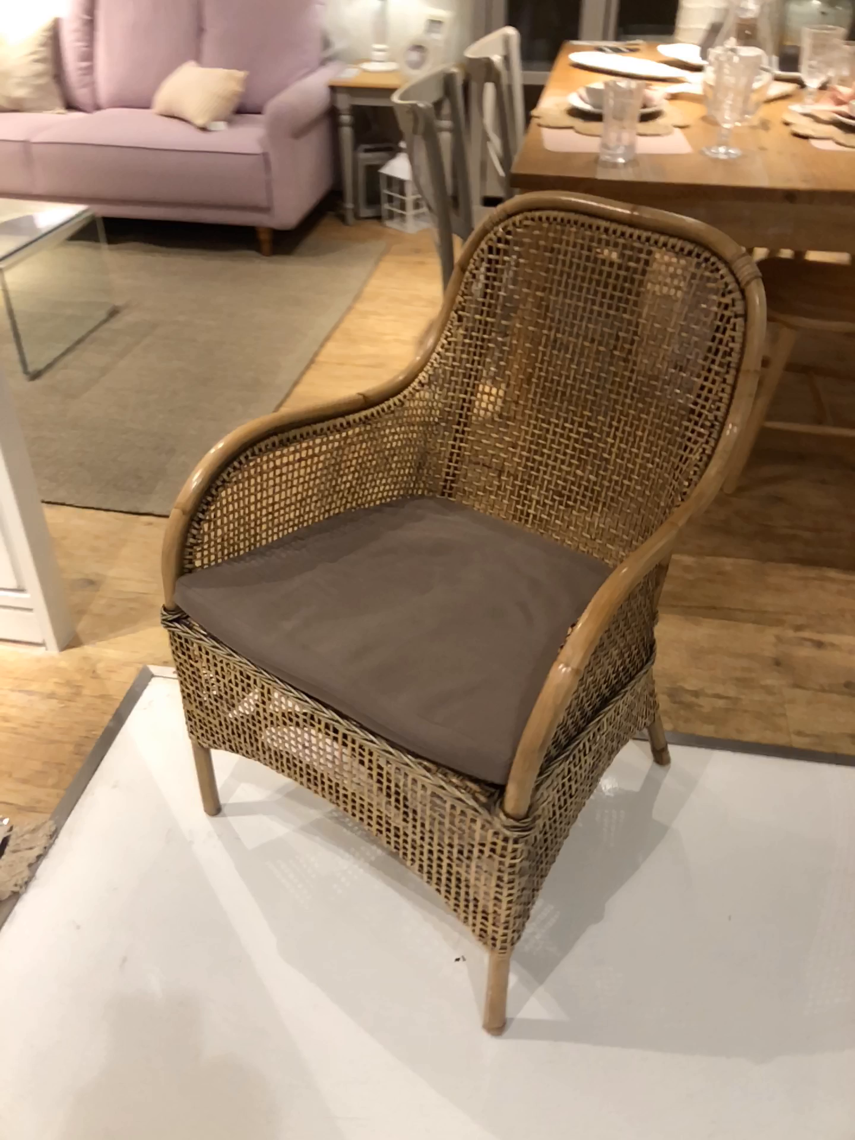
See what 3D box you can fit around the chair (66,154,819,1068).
[{"bbox_3d":[0.046,0.021,1.262,0.541,0.903,0.624,23,42,28],"label":"chair"}]
